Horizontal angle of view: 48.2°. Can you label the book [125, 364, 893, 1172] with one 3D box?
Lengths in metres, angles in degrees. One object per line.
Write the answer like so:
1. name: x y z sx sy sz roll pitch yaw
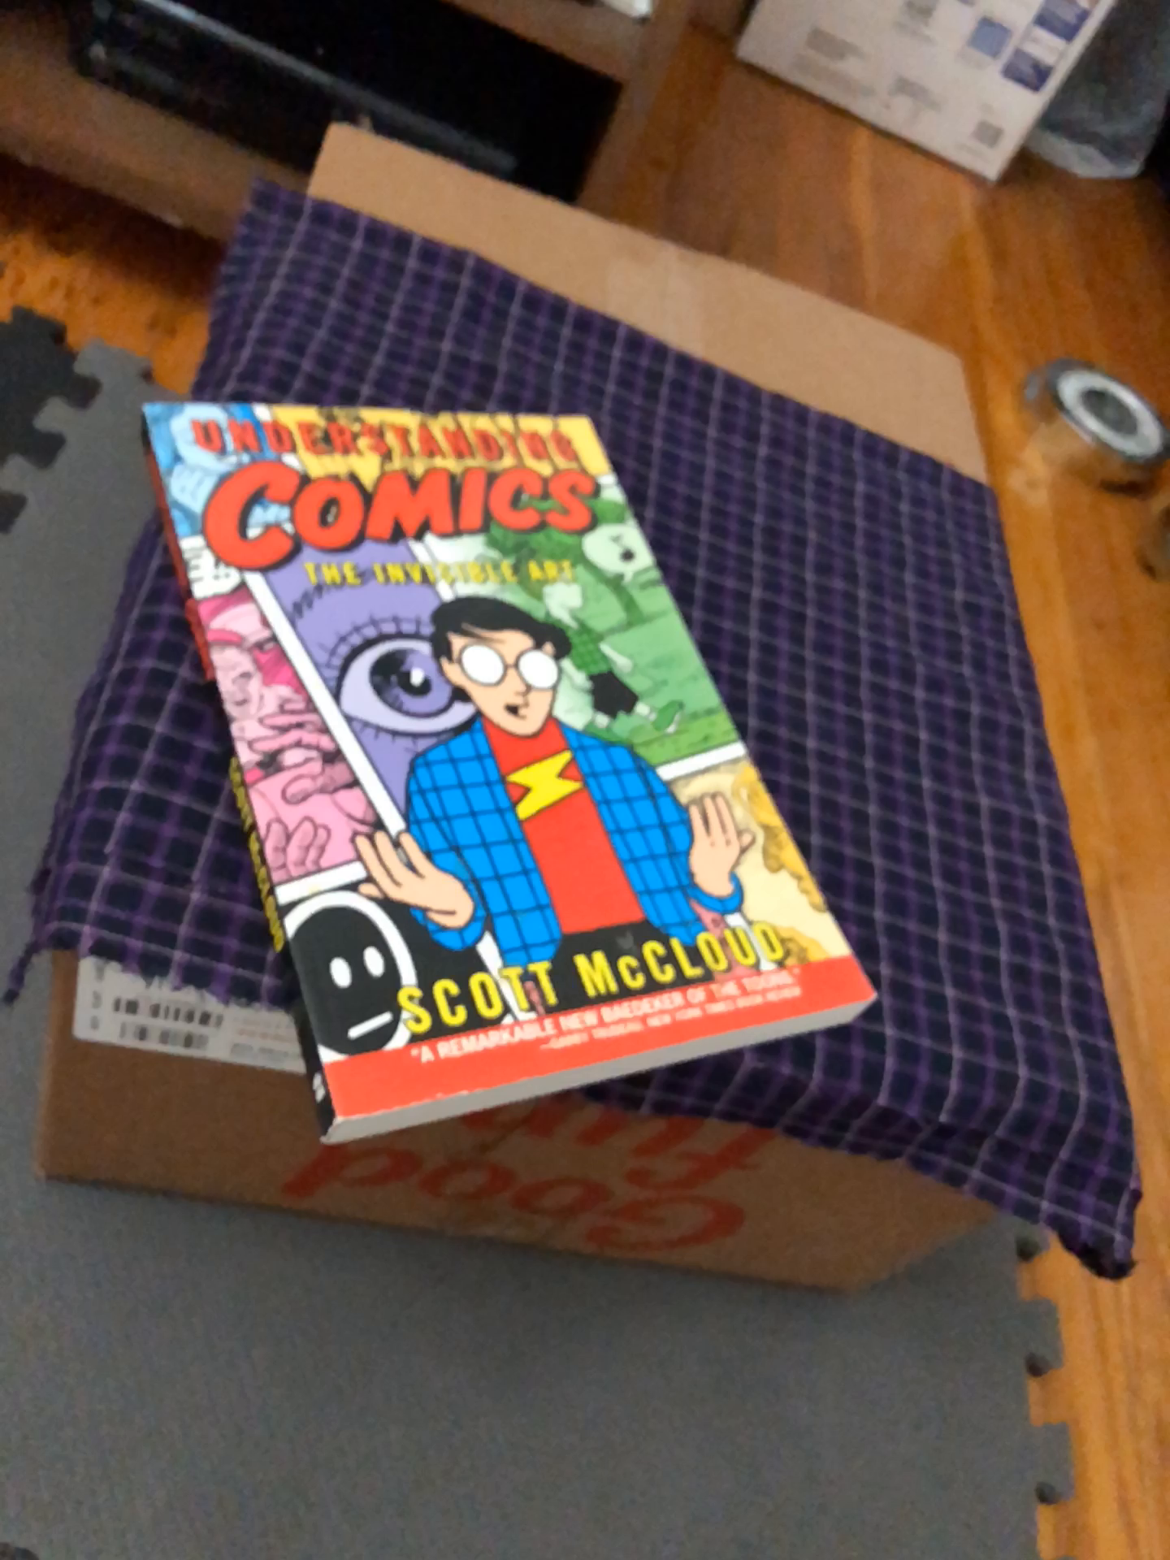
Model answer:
1. book: -0.033 -0.029 0.415 0.171 0.020 0.271 -6 58 -29
